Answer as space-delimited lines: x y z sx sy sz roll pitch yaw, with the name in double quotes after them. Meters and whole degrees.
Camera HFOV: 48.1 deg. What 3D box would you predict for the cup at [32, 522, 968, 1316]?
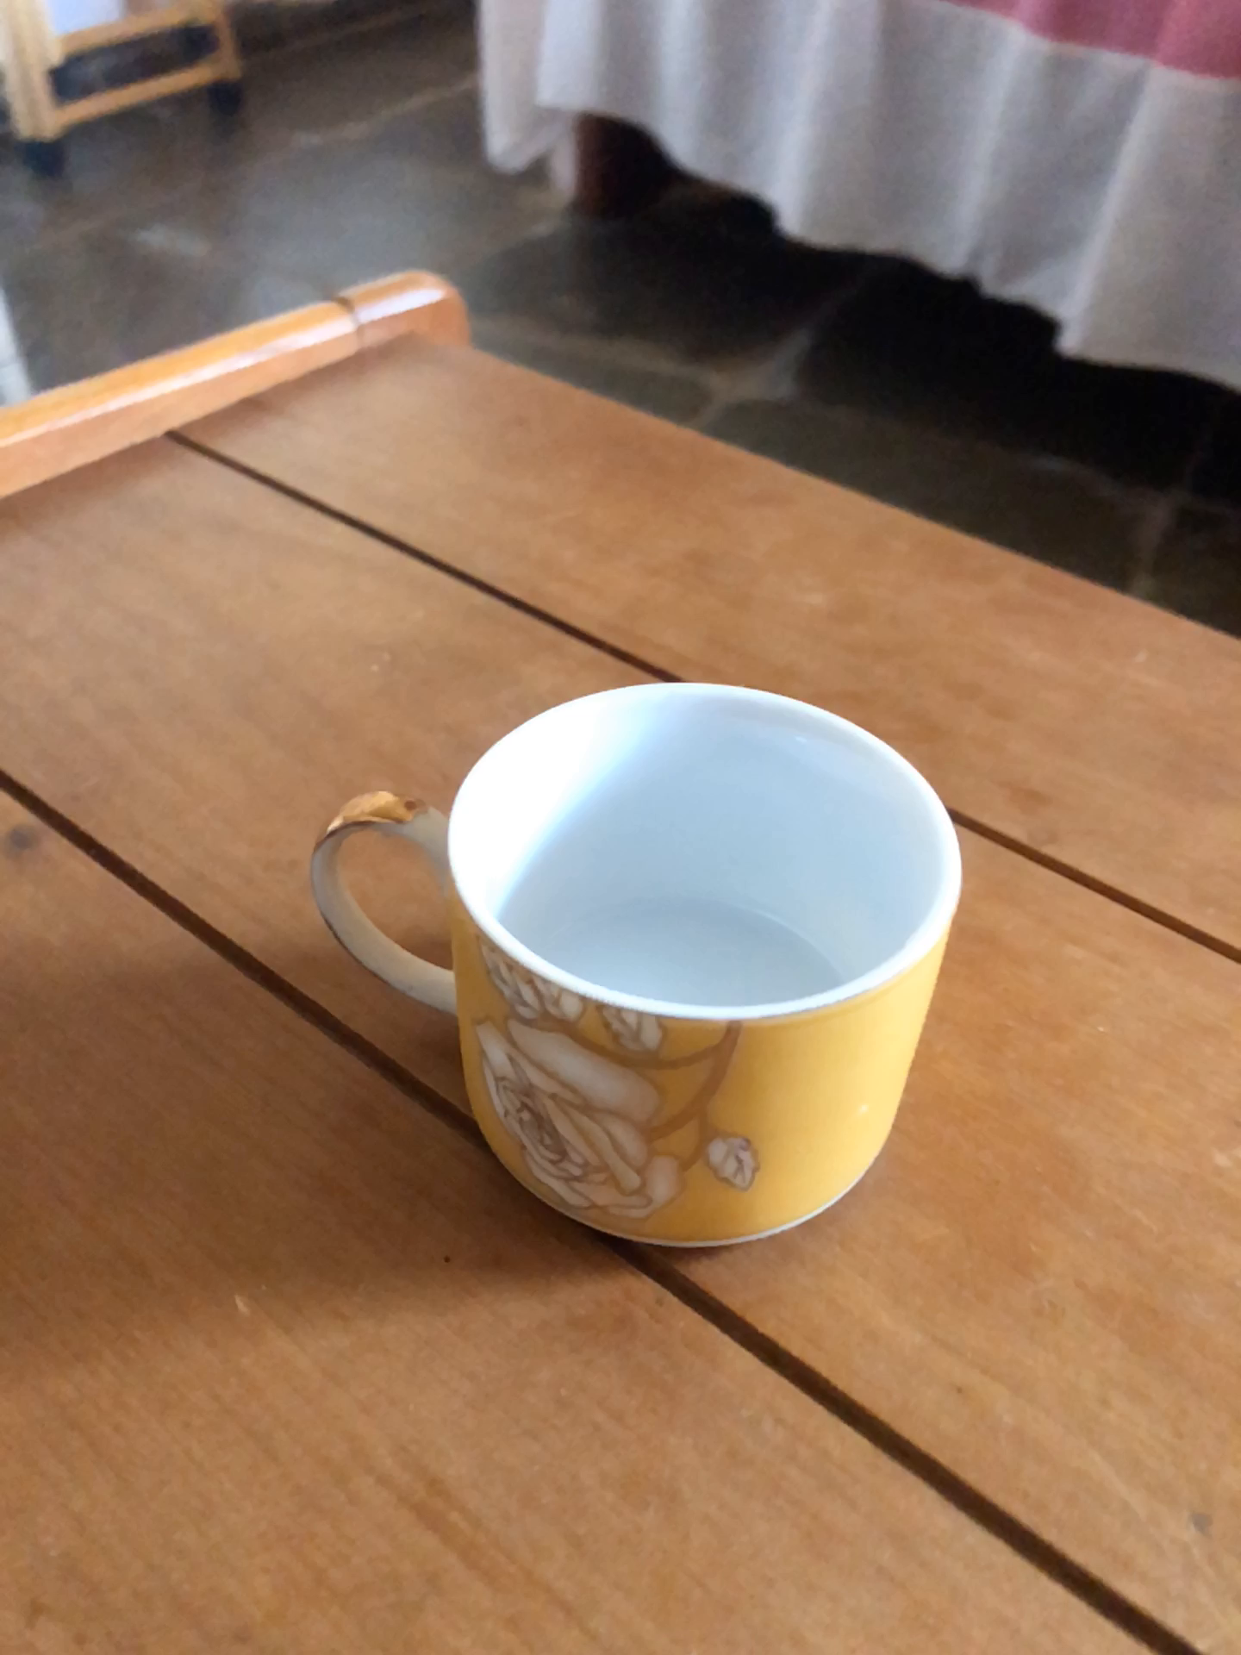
-0.007 0.007 0.173 0.090 0.050 0.071 9 41 7 "cup"
